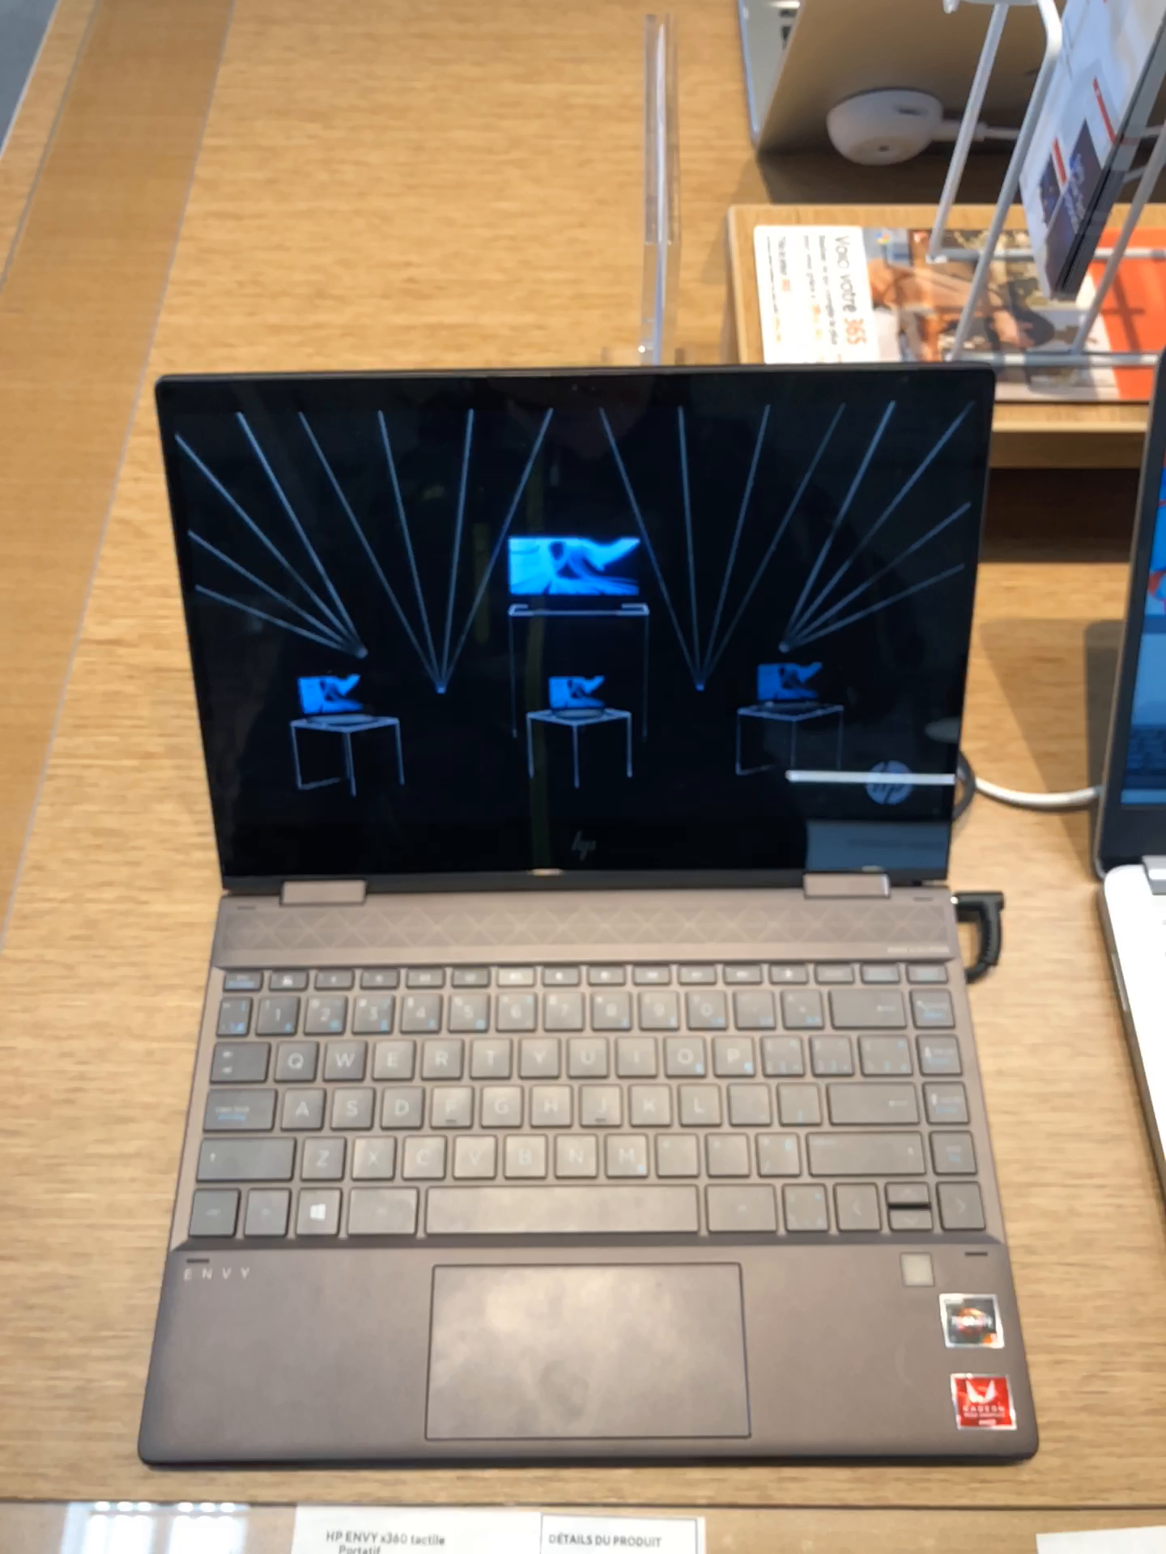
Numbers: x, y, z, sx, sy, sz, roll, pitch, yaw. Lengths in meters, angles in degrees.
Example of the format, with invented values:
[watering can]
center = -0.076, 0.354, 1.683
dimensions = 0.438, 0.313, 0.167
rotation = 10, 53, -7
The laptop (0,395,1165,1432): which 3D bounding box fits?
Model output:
[laptop]
center = 0.007, 0.044, 0.453
dimensions = 0.293, 0.163, 0.318
rotation = -1, 59, 1
